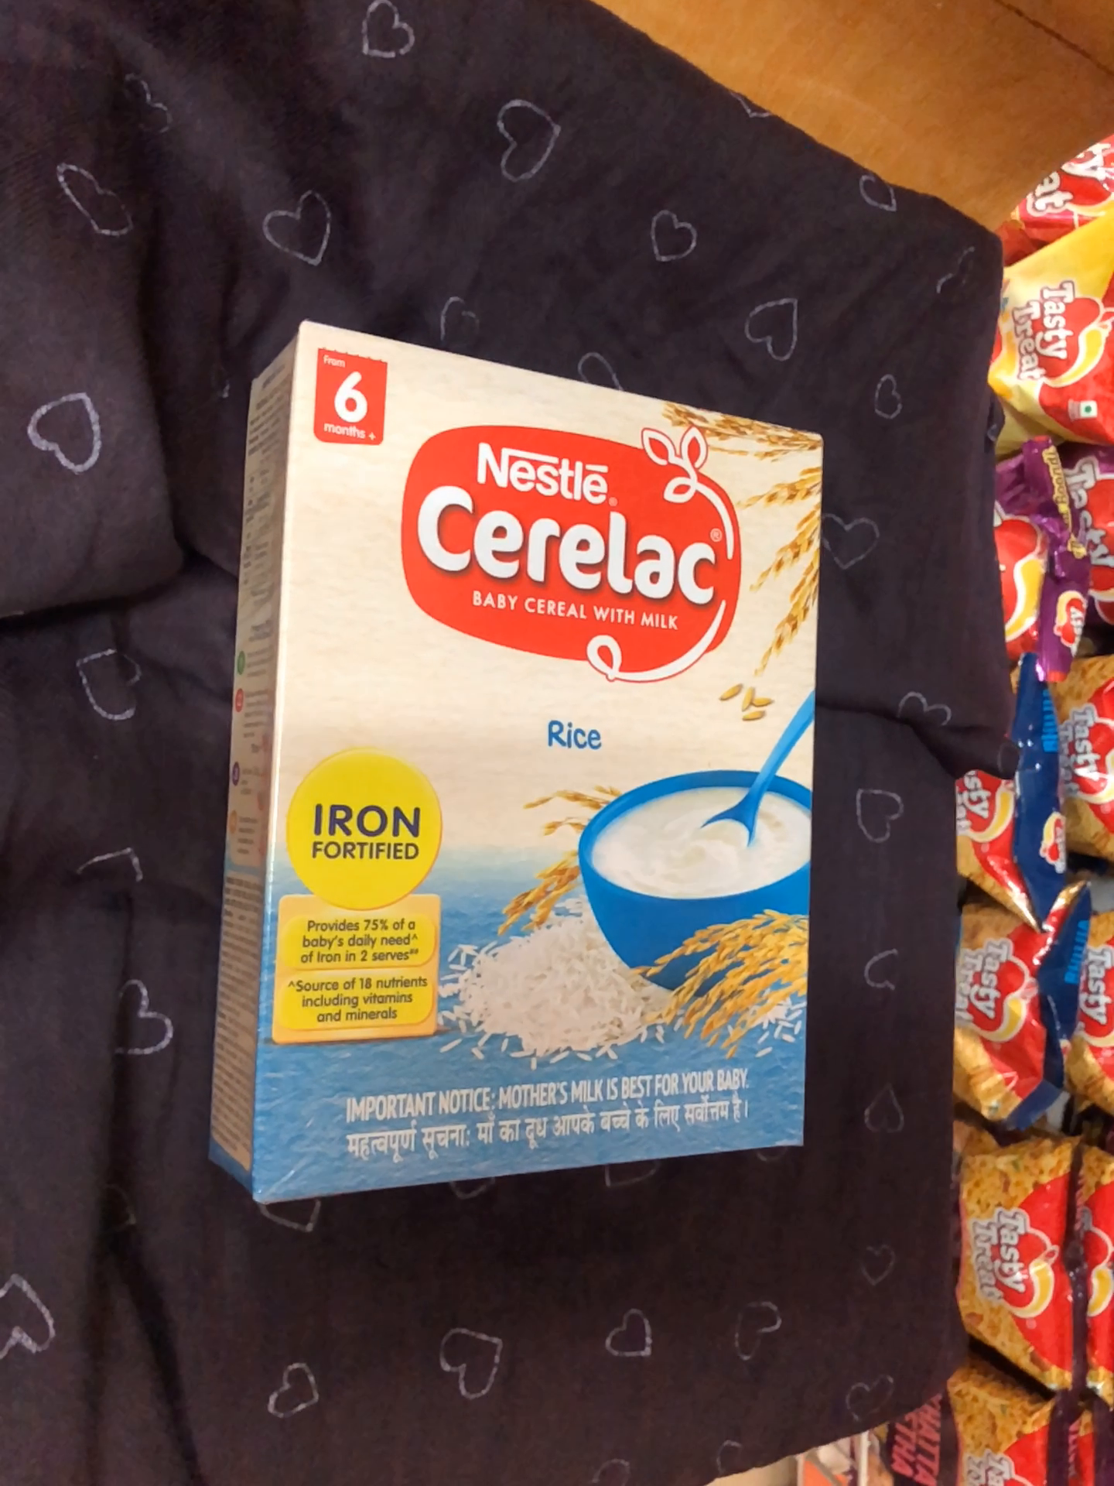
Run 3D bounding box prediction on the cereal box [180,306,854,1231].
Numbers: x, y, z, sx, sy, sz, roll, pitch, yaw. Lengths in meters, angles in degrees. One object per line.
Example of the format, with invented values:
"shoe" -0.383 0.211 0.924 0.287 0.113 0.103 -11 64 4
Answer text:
"cereal box" -0.008 0.009 0.336 0.160 0.070 0.200 4 87 -28
